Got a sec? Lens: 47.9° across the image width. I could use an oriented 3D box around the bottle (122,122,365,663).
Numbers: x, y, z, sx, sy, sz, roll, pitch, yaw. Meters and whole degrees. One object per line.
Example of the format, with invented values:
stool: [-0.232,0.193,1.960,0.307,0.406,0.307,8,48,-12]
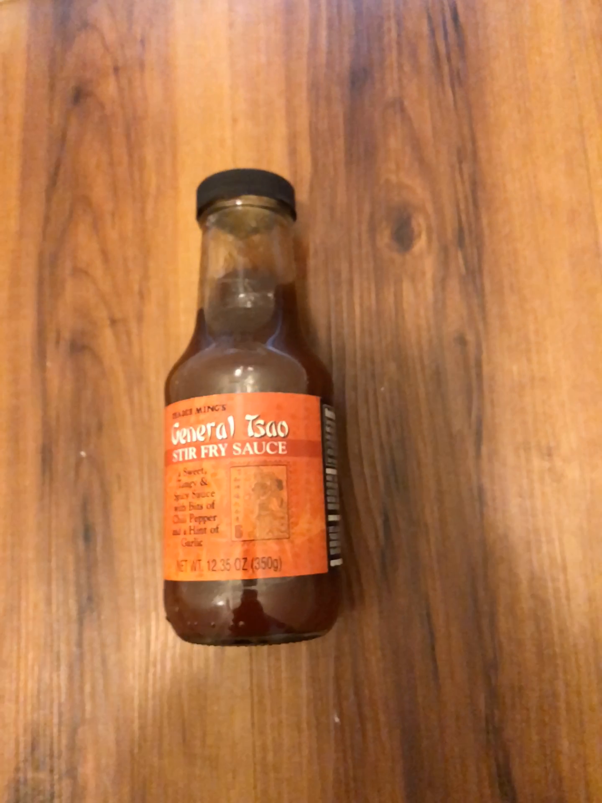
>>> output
bottle: [-0.020,-0.001,0.256,0.068,0.060,0.180,-5,77,14]
